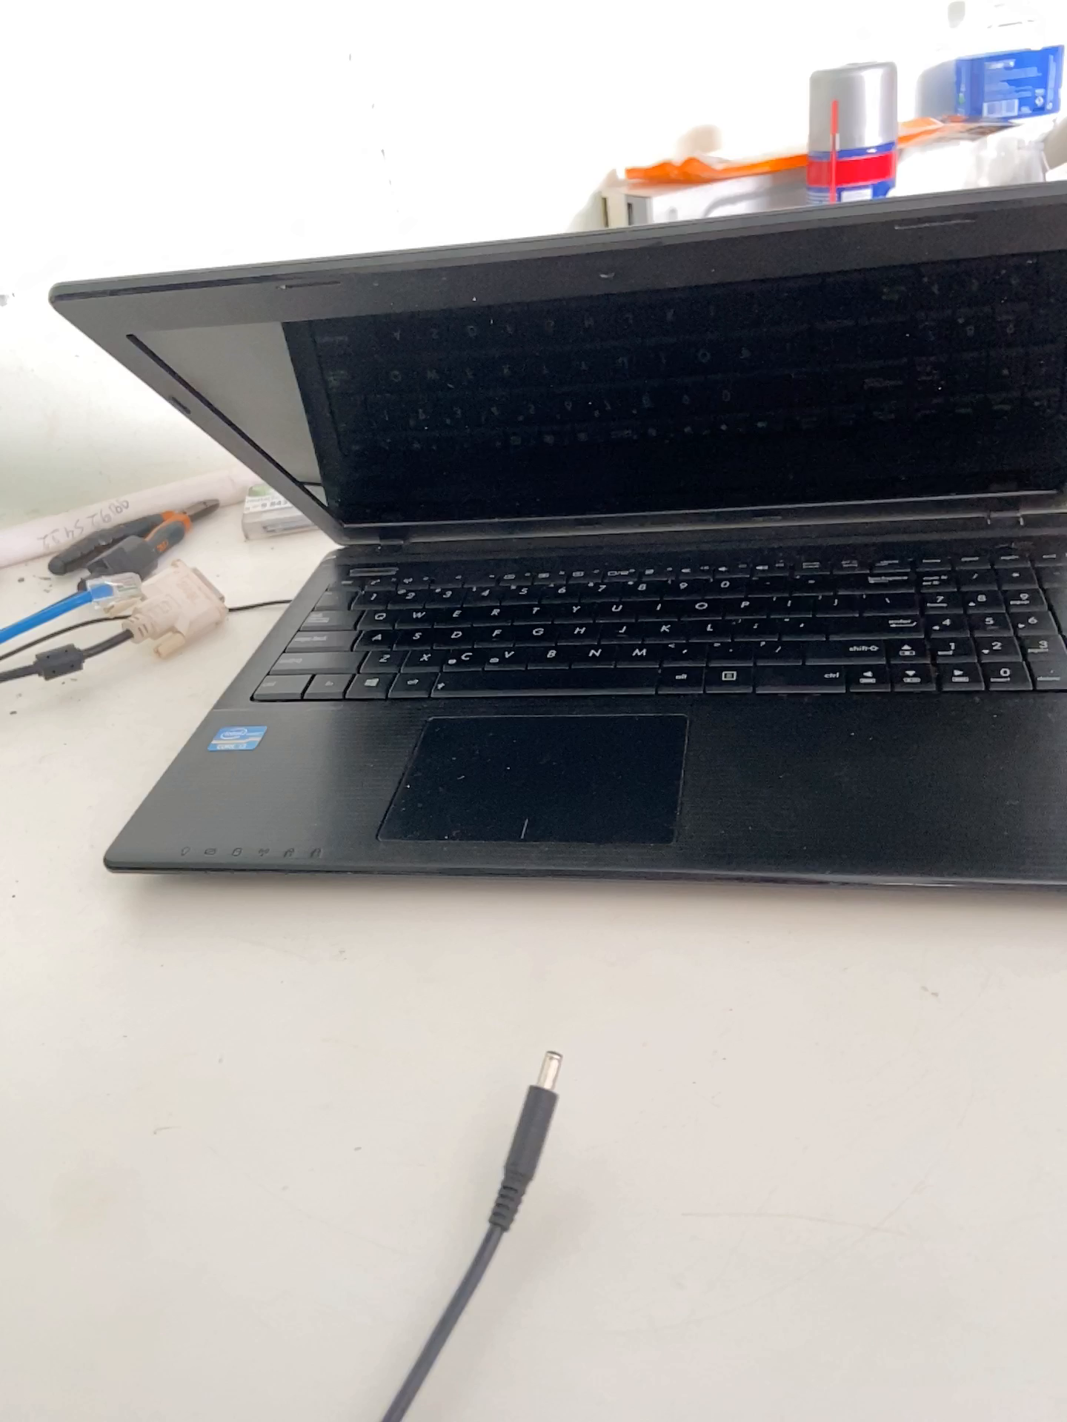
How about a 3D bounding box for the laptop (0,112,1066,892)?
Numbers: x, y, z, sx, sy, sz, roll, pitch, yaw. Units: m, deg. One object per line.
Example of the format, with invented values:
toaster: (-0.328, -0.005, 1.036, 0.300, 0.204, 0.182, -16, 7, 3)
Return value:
laptop: (0.040, -0.089, 0.413, 0.375, 0.166, 0.248, 0, 34, 13)
